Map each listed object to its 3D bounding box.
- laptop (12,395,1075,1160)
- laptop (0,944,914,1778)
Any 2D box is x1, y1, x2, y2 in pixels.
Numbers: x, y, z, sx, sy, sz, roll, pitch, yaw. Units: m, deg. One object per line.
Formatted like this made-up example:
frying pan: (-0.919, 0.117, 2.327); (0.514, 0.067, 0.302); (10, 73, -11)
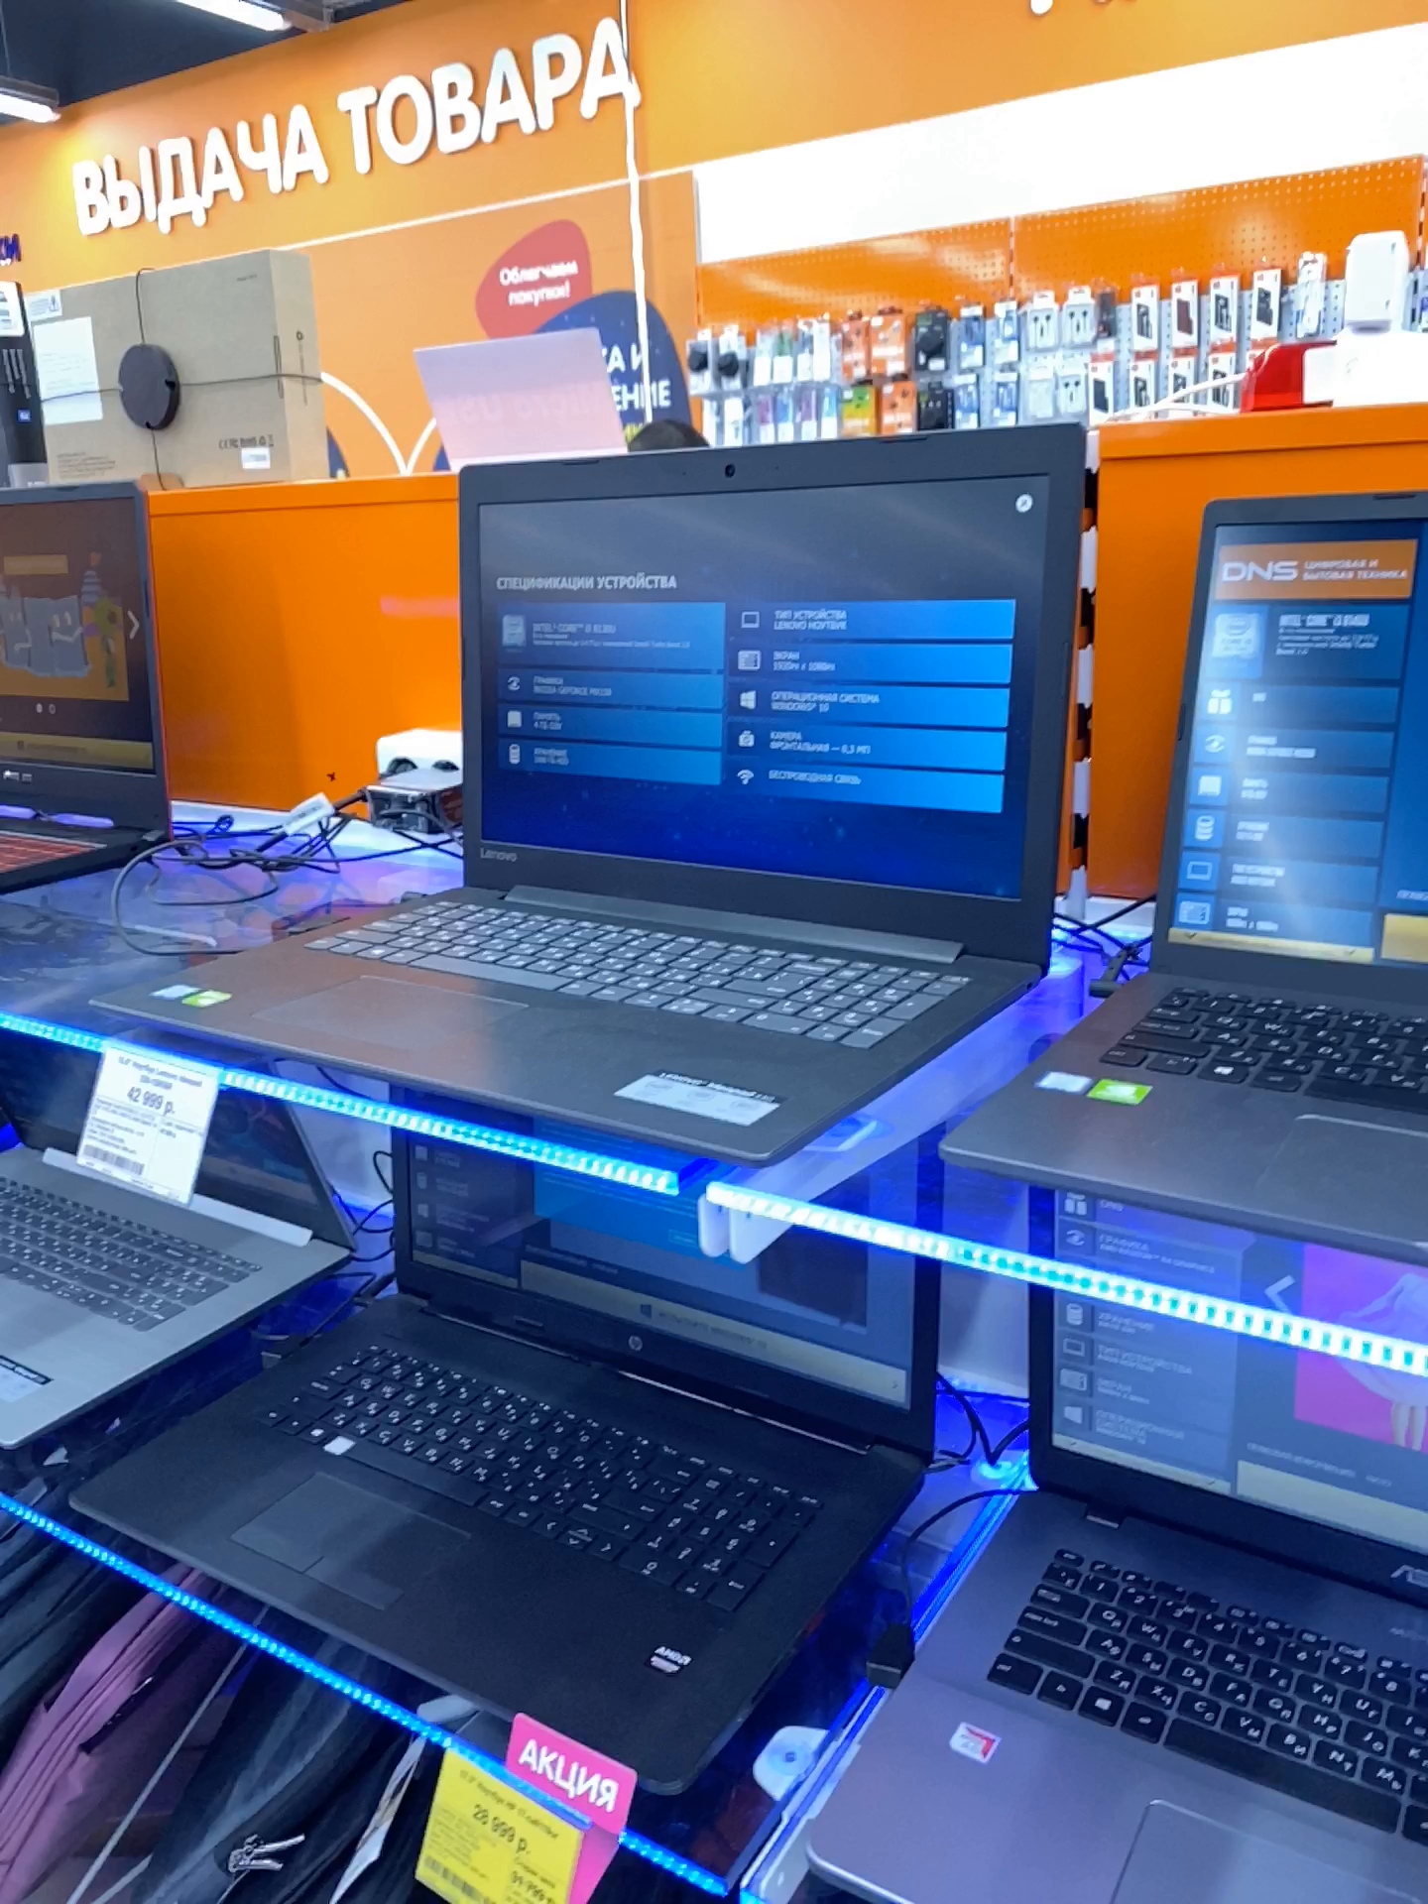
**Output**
laptop: (-0.067, -0.106, 0.683); (0.378, 0.245, 0.290); (8, 18, 32)
laptop: (-0.127, 0.172, 0.800); (0.401, 0.263, 0.271); (7, 16, 29)
